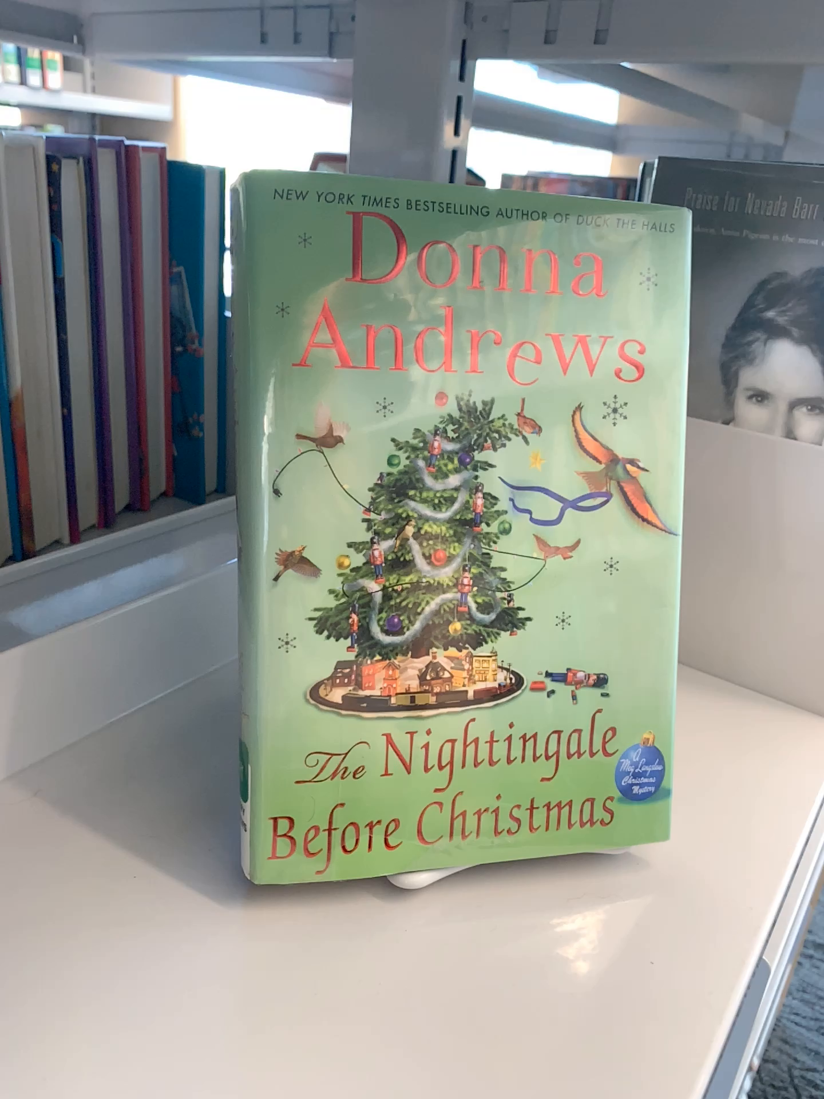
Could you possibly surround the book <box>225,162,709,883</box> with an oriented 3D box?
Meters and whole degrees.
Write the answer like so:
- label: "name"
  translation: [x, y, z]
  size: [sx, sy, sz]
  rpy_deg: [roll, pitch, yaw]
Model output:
- label: "book"
  translation: [0.015, -0.007, 0.274]
  size: [0.145, 0.200, 0.040]
  rpy_deg: [0, 5, -14]
